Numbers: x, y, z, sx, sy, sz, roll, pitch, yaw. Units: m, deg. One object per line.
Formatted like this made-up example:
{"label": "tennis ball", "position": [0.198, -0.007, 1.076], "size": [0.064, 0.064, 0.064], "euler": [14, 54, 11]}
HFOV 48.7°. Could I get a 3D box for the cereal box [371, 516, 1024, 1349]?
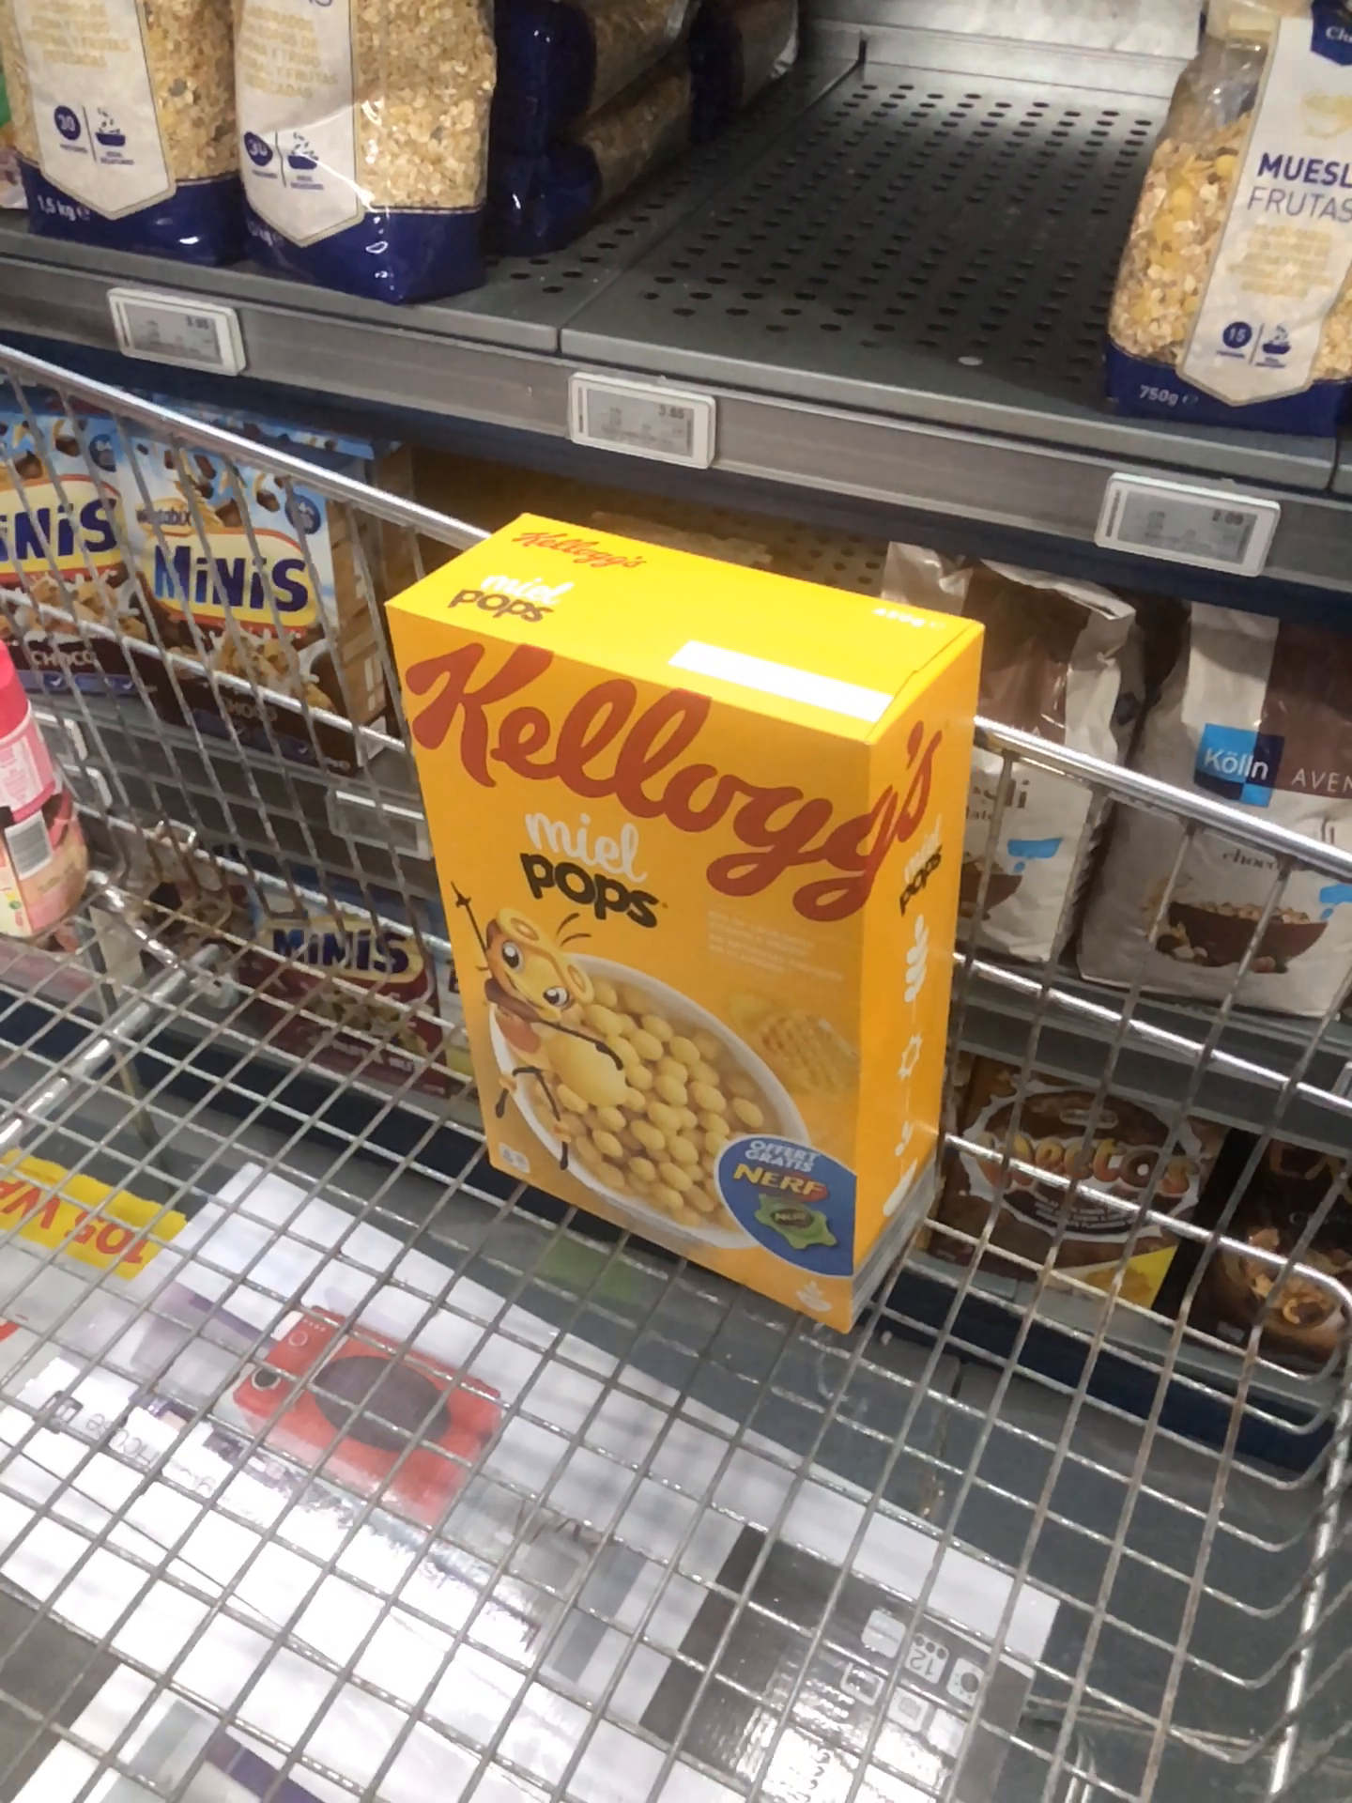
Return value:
{"label": "cereal box", "position": [0.006, 0.017, 0.586], "size": [0.200, 0.279, 0.090], "euler": [18, 42, 22]}
